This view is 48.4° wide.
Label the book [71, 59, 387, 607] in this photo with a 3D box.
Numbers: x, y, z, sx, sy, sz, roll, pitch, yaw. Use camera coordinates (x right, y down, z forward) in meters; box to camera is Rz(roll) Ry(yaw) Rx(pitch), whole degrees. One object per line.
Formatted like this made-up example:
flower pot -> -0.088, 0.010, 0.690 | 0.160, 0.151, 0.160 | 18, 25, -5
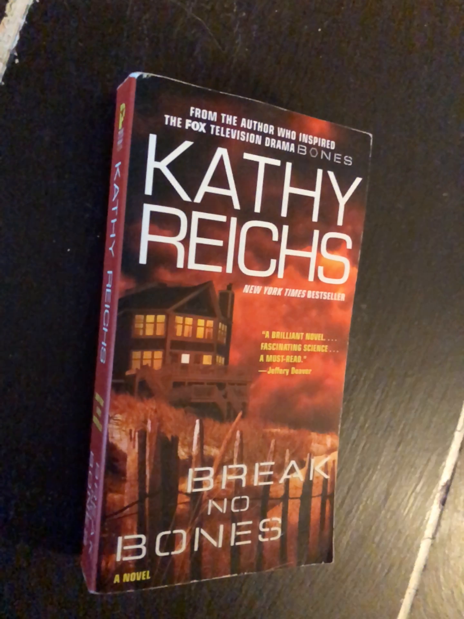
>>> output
book -> 0.000, 0.013, 0.213 | 0.108, 0.030, 0.189 | 5, 94, -25
